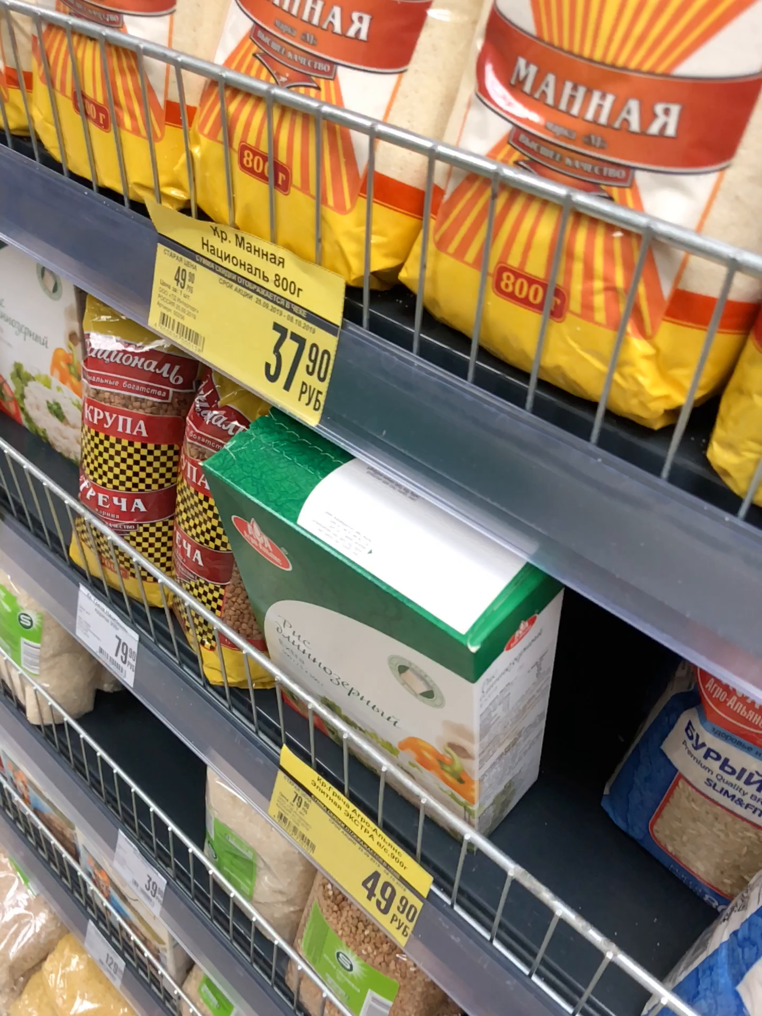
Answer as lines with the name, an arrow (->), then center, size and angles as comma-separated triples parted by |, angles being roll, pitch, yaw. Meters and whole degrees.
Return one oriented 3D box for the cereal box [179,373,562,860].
cereal box -> 0.001, 0.059, 0.380 | 0.140, 0.209, 0.050 | 32, 61, 29
